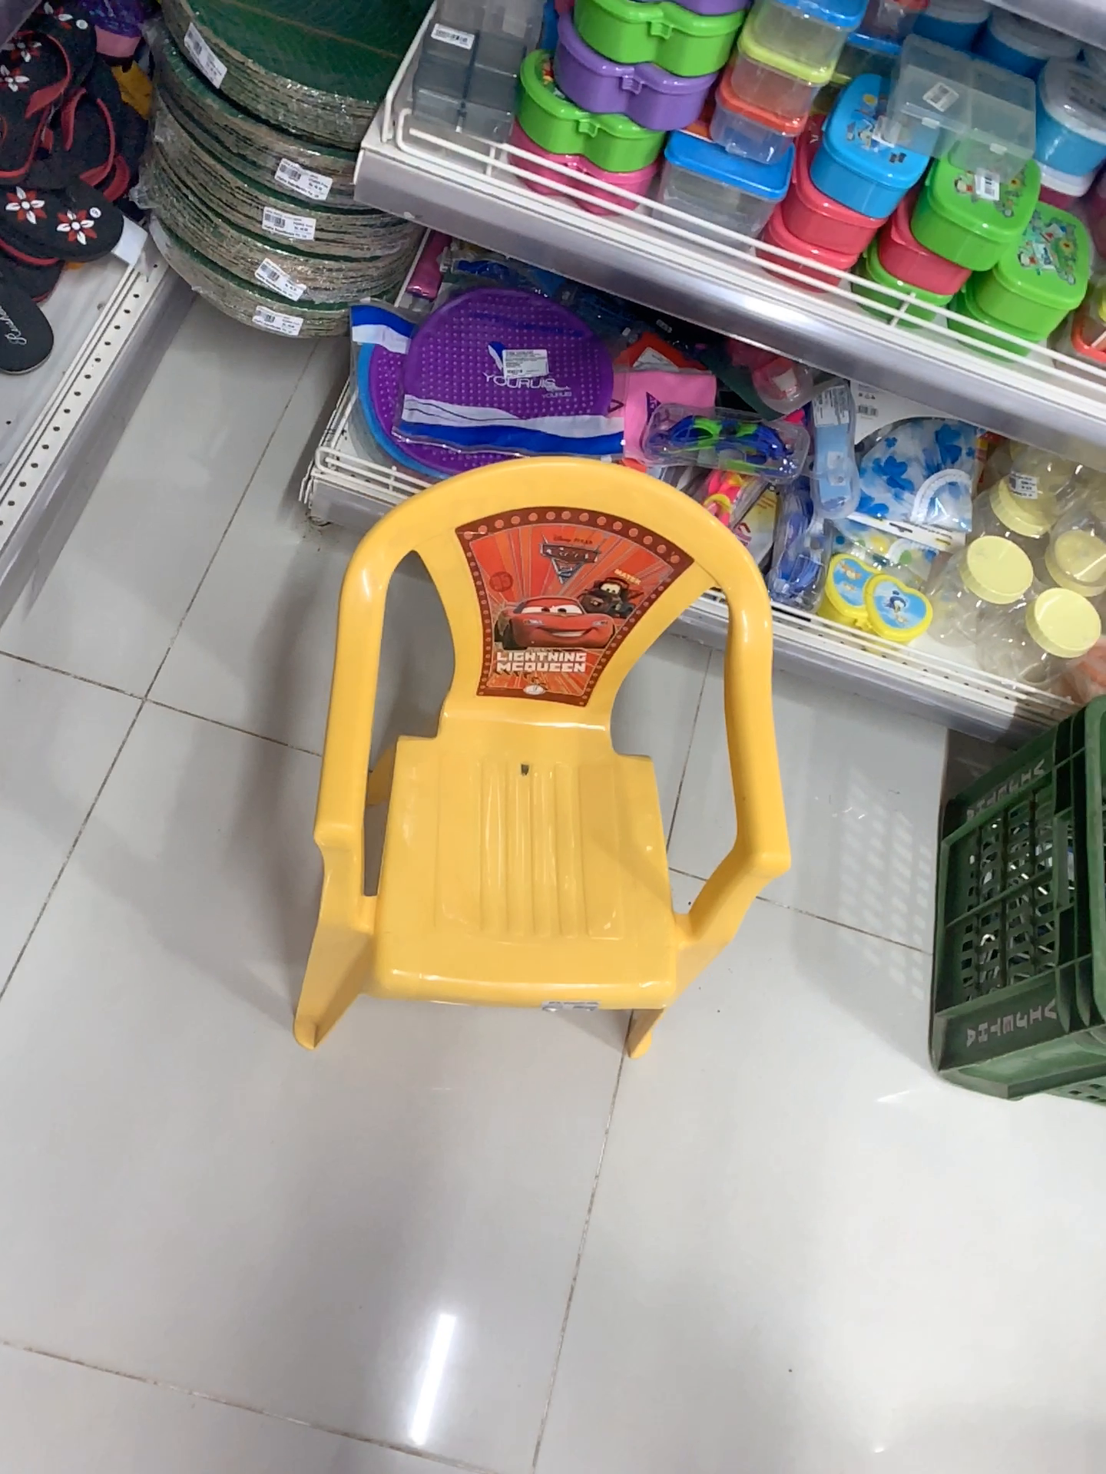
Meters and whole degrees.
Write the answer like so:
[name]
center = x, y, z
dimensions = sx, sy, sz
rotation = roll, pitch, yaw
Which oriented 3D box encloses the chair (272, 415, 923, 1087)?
[chair]
center = -0.016, 0.066, 0.952
dimensions = 0.390, 0.499, 0.370
rotation = 5, 65, -11
